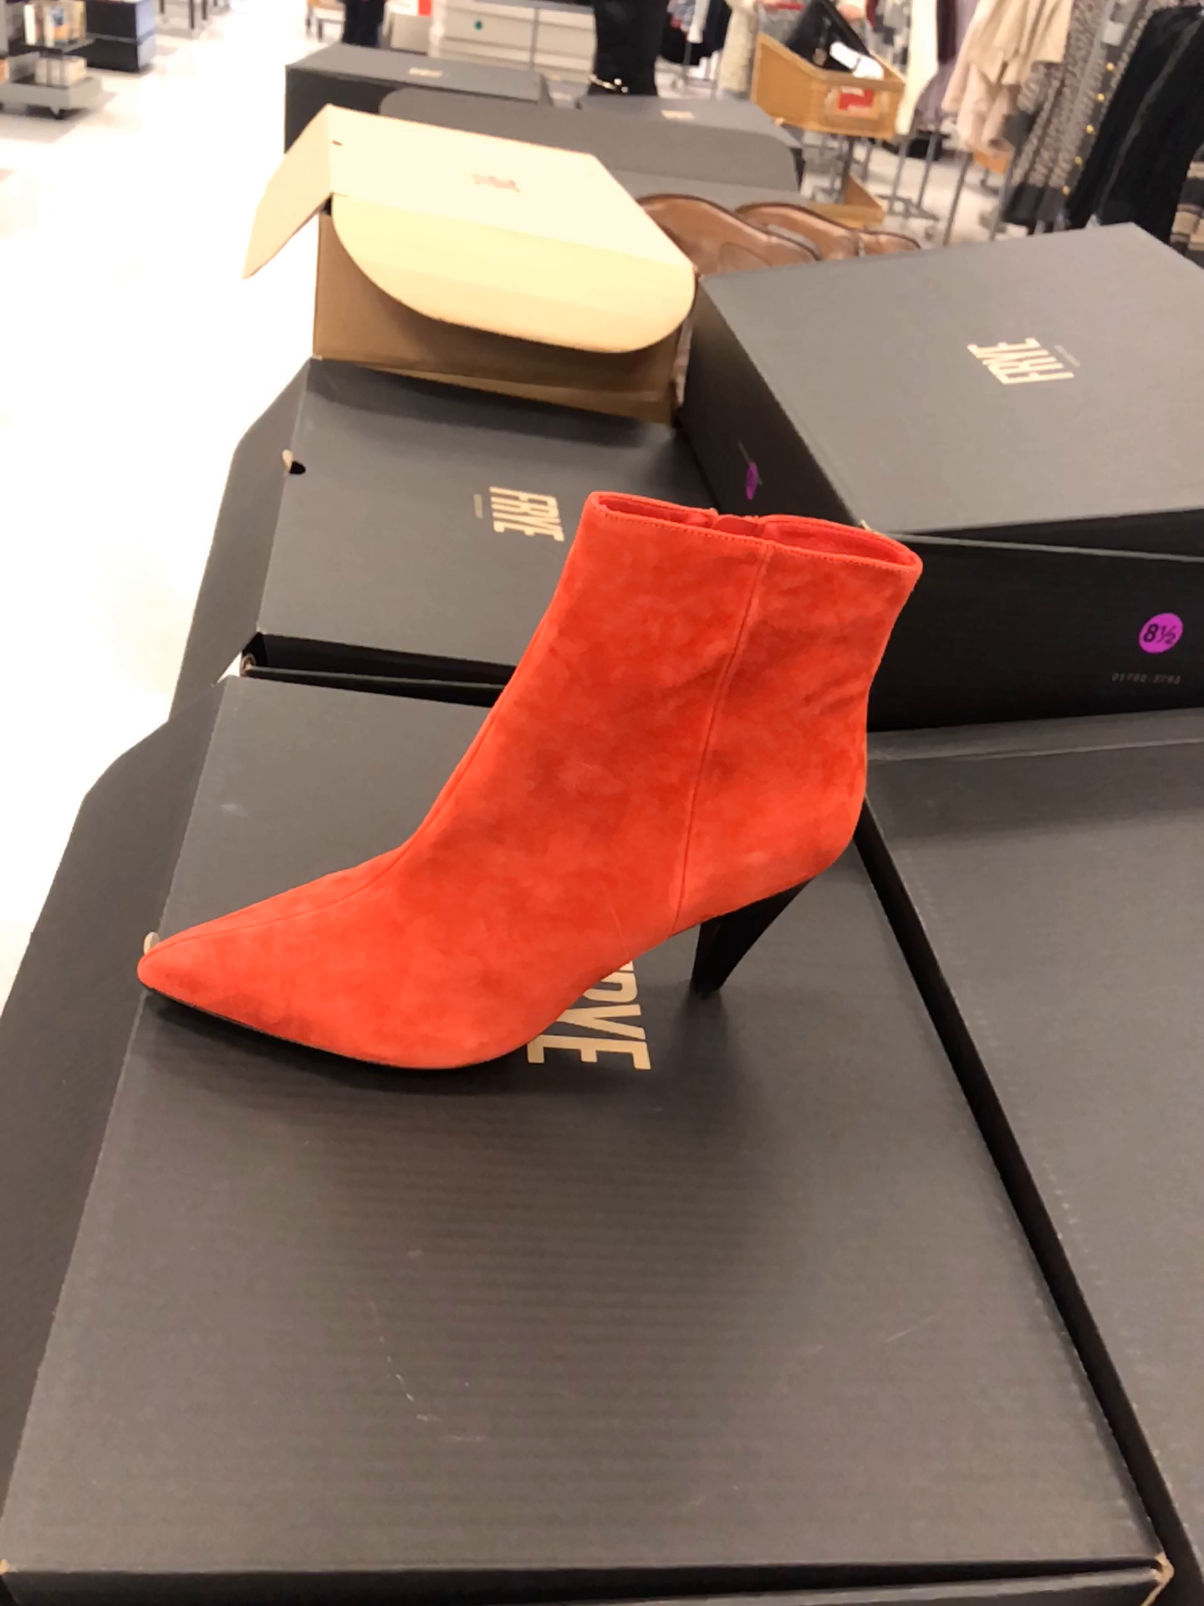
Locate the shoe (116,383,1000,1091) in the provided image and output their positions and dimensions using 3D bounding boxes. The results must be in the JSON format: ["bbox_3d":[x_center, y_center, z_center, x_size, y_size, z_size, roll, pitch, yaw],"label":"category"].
[{"bbox_3d":[-0.030,-0.011,0.487,0.261,0.211,0.101,6,33,-16],"label":"shoe"}]
